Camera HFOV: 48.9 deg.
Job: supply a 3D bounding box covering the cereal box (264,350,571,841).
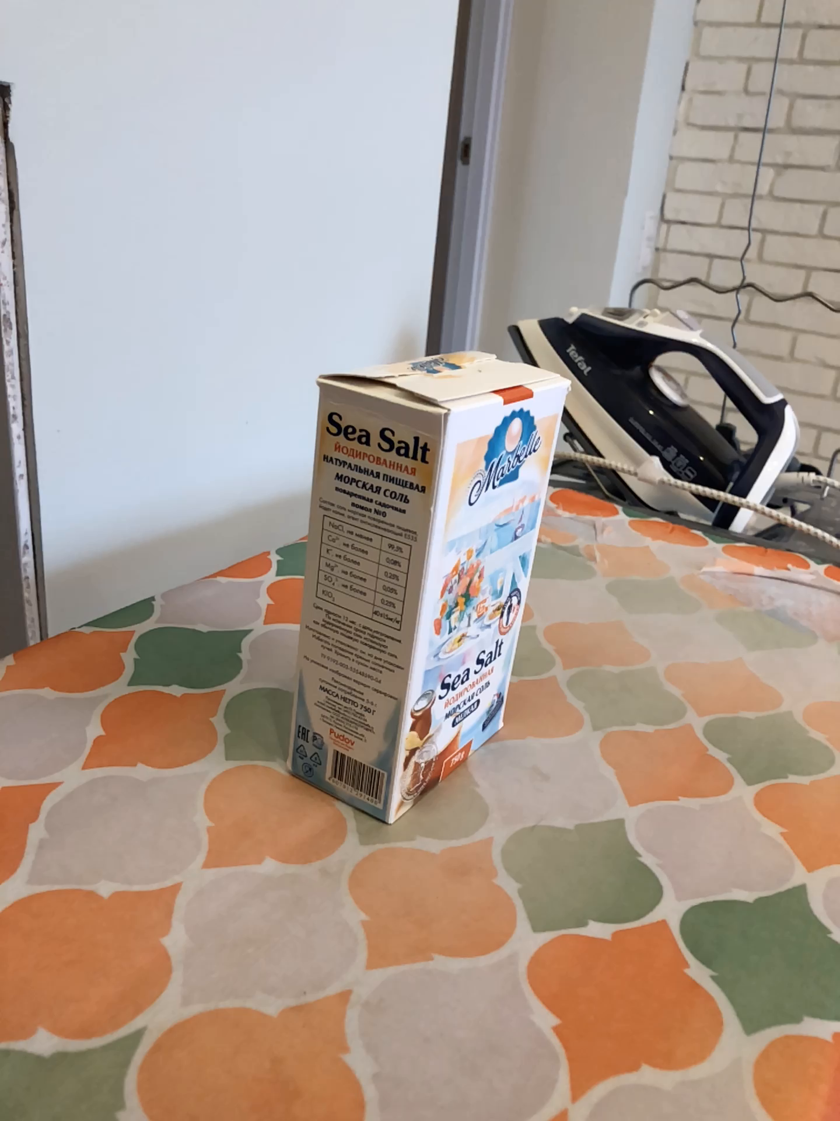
[{"bbox_3d":[-0.002,0.008,0.379,0.060,0.169,0.100,20,24,27],"label":"cereal box"}]
